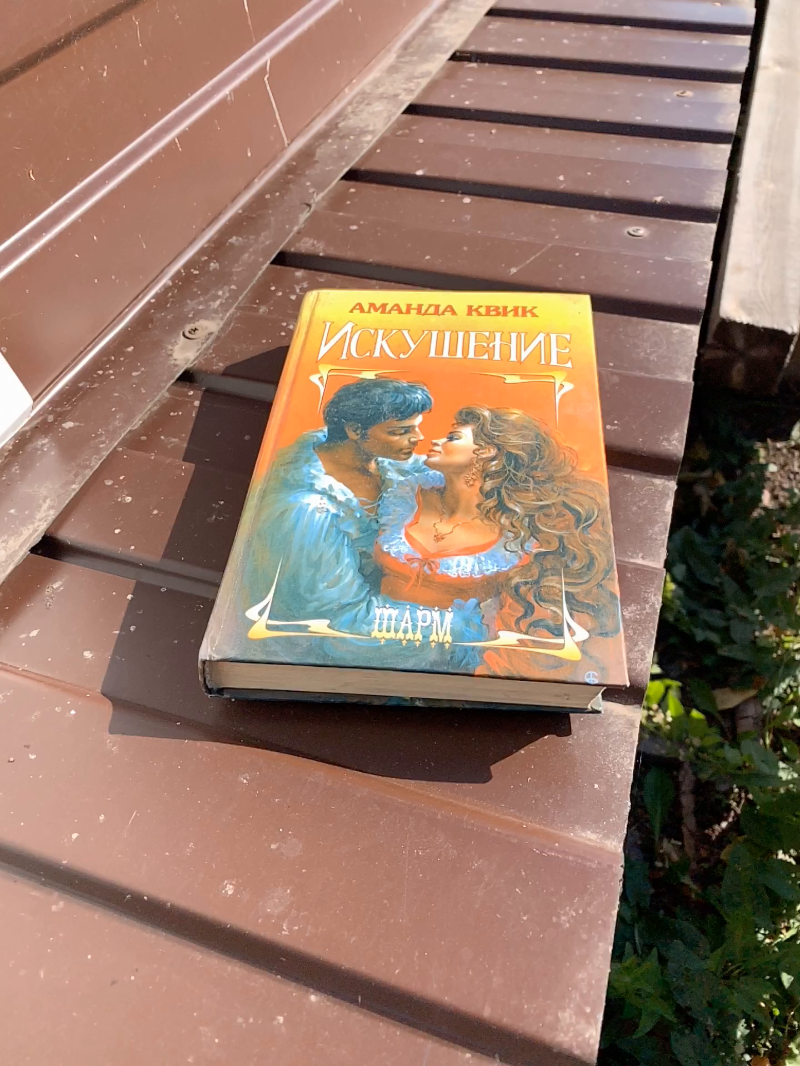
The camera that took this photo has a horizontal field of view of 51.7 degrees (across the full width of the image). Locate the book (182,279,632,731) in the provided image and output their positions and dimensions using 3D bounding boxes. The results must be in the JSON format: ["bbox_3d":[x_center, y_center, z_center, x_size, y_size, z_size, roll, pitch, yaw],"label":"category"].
[{"bbox_3d":[0.011,-0.027,0.317,0.134,0.024,0.201,3,51,6],"label":"book"}]
